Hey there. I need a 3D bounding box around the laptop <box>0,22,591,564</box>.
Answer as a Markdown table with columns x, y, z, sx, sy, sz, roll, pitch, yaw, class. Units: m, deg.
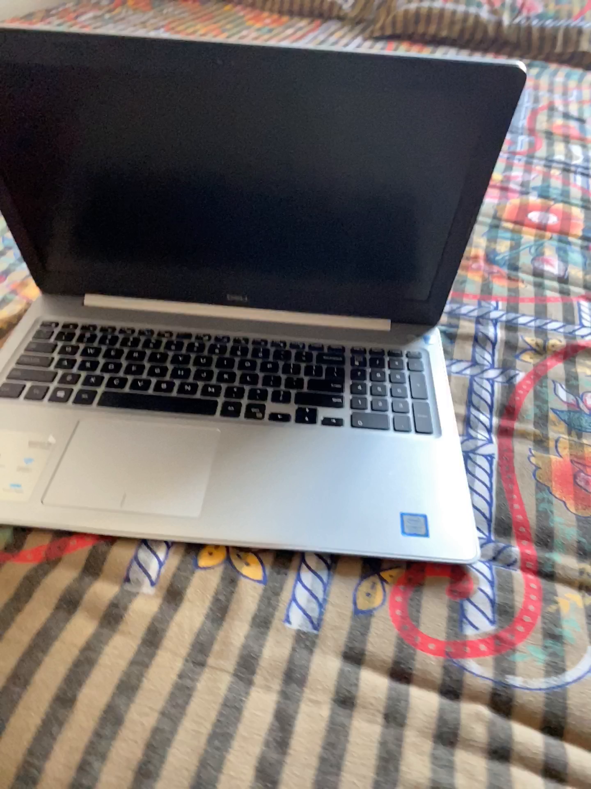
| x | y | z | sx | sy | sz | roll | pitch | yaw | class |
| --- | --- | --- | --- | --- | --- | --- | --- | --- | --- |
| -0.064 | -0.067 | 0.389 | 0.373 | 0.231 | 0.211 | 5 | 43 | 2 | laptop |
